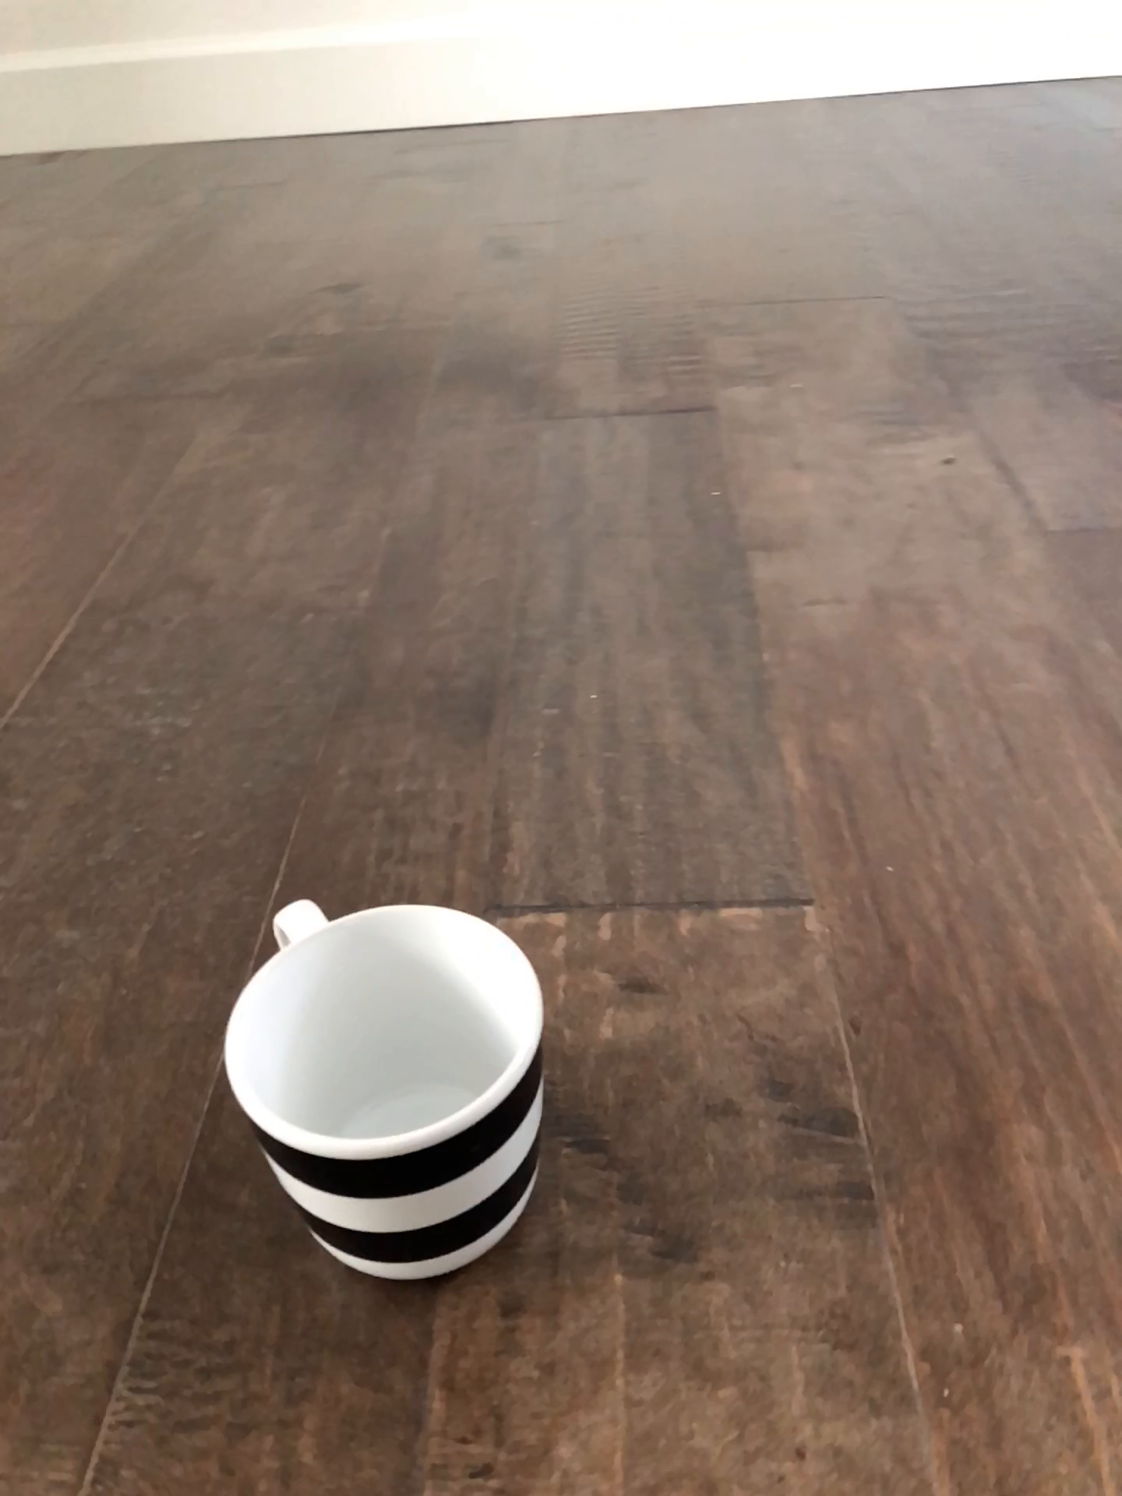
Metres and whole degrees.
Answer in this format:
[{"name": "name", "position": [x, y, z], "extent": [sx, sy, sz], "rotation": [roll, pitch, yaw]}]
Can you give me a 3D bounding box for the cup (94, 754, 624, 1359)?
[{"name": "cup", "position": [-0.057, 0.078, 0.352], "extent": [0.090, 0.079, 0.121], "rotation": [-26, 40, -28]}]
